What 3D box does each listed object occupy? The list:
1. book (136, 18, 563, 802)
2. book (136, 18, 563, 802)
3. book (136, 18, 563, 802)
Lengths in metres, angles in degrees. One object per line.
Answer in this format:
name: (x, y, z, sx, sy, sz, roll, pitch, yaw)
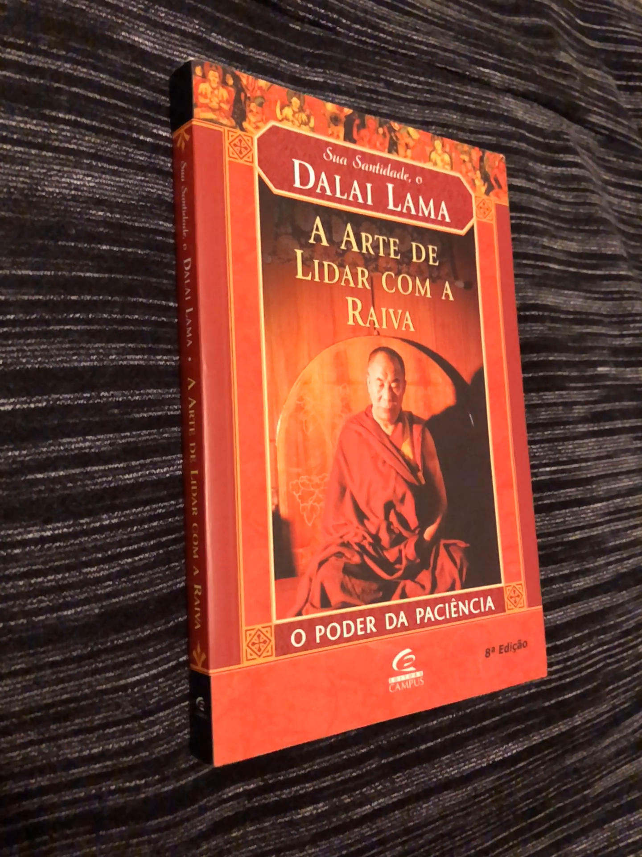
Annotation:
book: (0.016, -0.009, 0.254, 0.151, 0.030, 0.220, 0, 84, -35)
book: (0.016, -0.009, 0.254, 0.151, 0.030, 0.220, 0, 84, -35)
book: (0.016, -0.009, 0.254, 0.151, 0.030, 0.220, 0, 84, -35)
